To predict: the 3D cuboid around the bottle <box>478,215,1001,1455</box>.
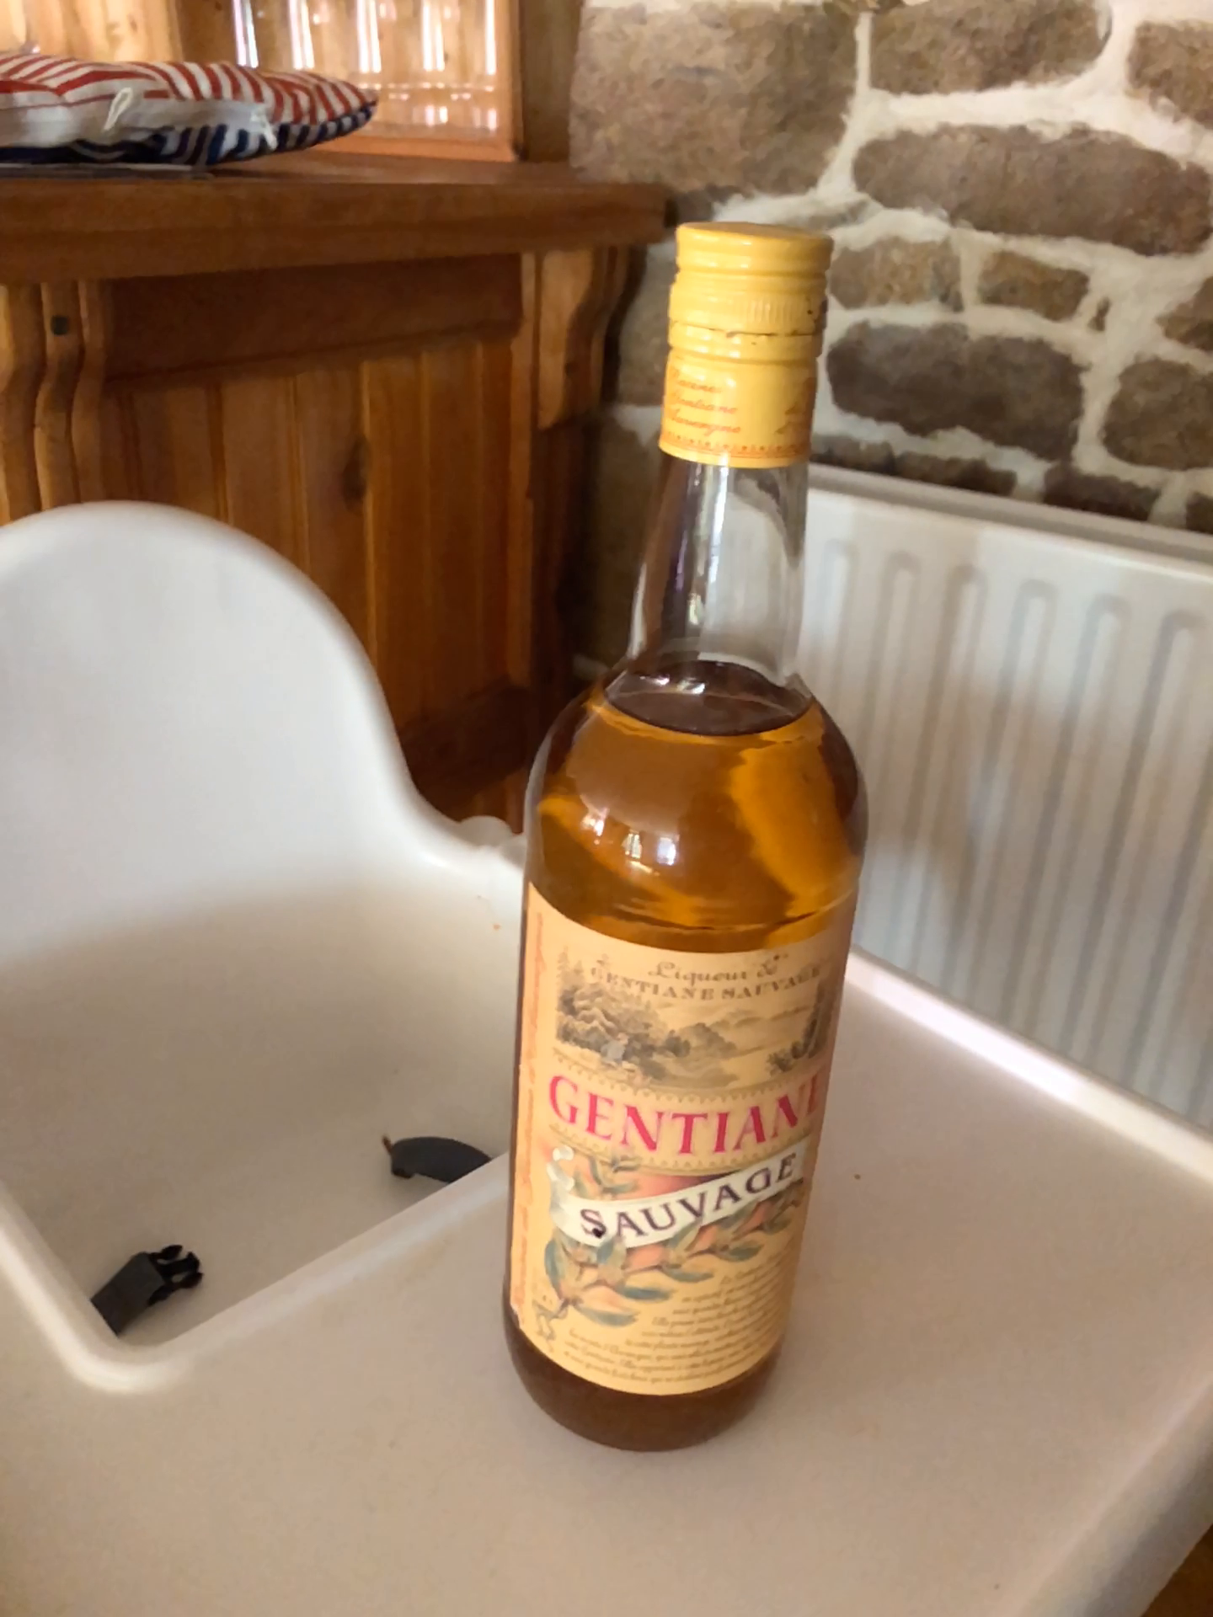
[{"bbox_3d":[0.016,0.021,0.330,0.090,0.298,0.080,1,26,-3],"label":"bottle"}]
